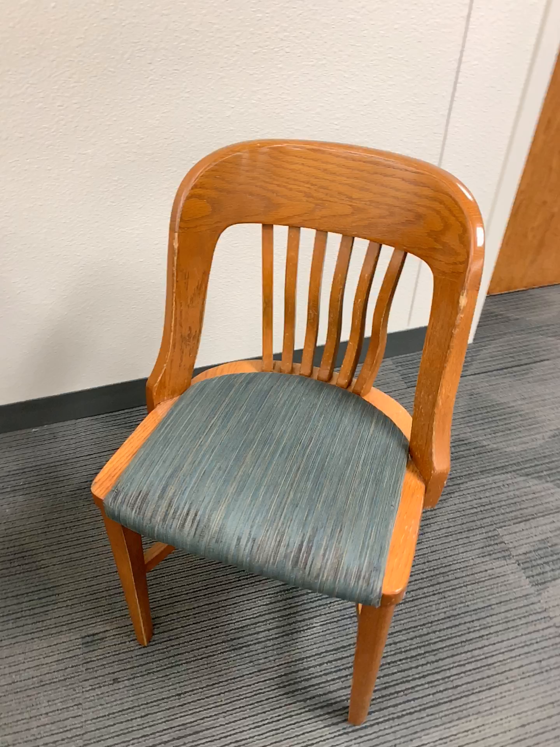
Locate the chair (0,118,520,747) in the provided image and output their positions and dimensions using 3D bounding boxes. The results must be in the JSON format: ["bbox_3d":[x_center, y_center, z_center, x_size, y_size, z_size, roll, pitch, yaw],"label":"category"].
[{"bbox_3d":[-0.005,0.095,0.966,0.550,0.747,0.622,14,45,14],"label":"chair"}]
